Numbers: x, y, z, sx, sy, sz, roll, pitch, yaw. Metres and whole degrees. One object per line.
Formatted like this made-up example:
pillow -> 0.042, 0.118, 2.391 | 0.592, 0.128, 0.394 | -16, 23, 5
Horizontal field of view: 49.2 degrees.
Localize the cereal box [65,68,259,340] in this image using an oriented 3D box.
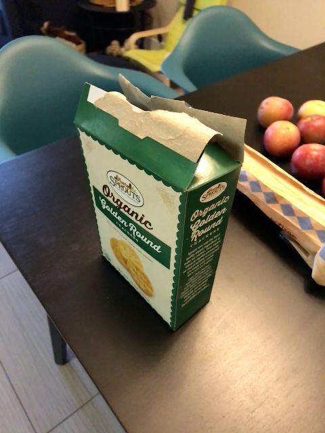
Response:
cereal box -> -0.009, -0.007, 0.401 | 0.080, 0.248, 0.170 | -31, 52, -29
